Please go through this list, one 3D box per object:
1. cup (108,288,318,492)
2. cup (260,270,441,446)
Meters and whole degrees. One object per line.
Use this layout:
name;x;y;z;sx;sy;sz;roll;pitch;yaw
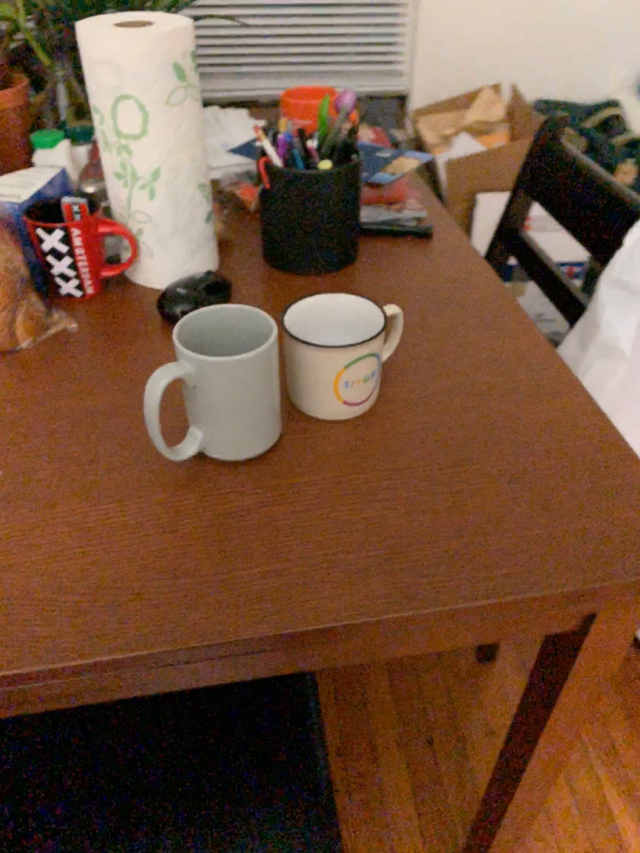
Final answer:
cup;-0.087;-0.035;0.560;0.140;0.099;0.101;-18;44;-20
cup;0.025;-0.068;0.627;0.130;0.099;0.101;-18;43;-20
